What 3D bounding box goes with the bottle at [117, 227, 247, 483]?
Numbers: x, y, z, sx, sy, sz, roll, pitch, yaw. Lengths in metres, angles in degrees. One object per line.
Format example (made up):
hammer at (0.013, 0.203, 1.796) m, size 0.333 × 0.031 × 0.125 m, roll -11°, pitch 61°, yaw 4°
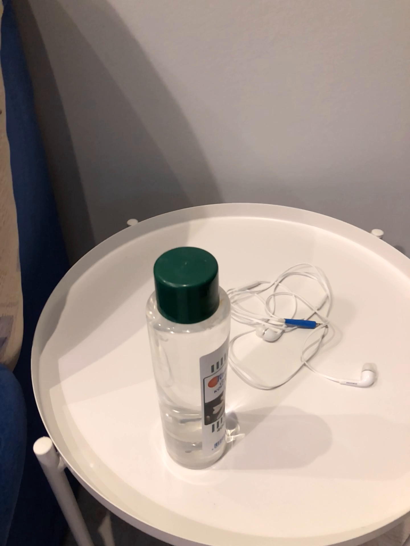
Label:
bottle at (-0.012, 0.071, 0.334) m, size 0.059 × 0.199 × 0.052 m, roll 24°, pitch 45°, yaw 26°
